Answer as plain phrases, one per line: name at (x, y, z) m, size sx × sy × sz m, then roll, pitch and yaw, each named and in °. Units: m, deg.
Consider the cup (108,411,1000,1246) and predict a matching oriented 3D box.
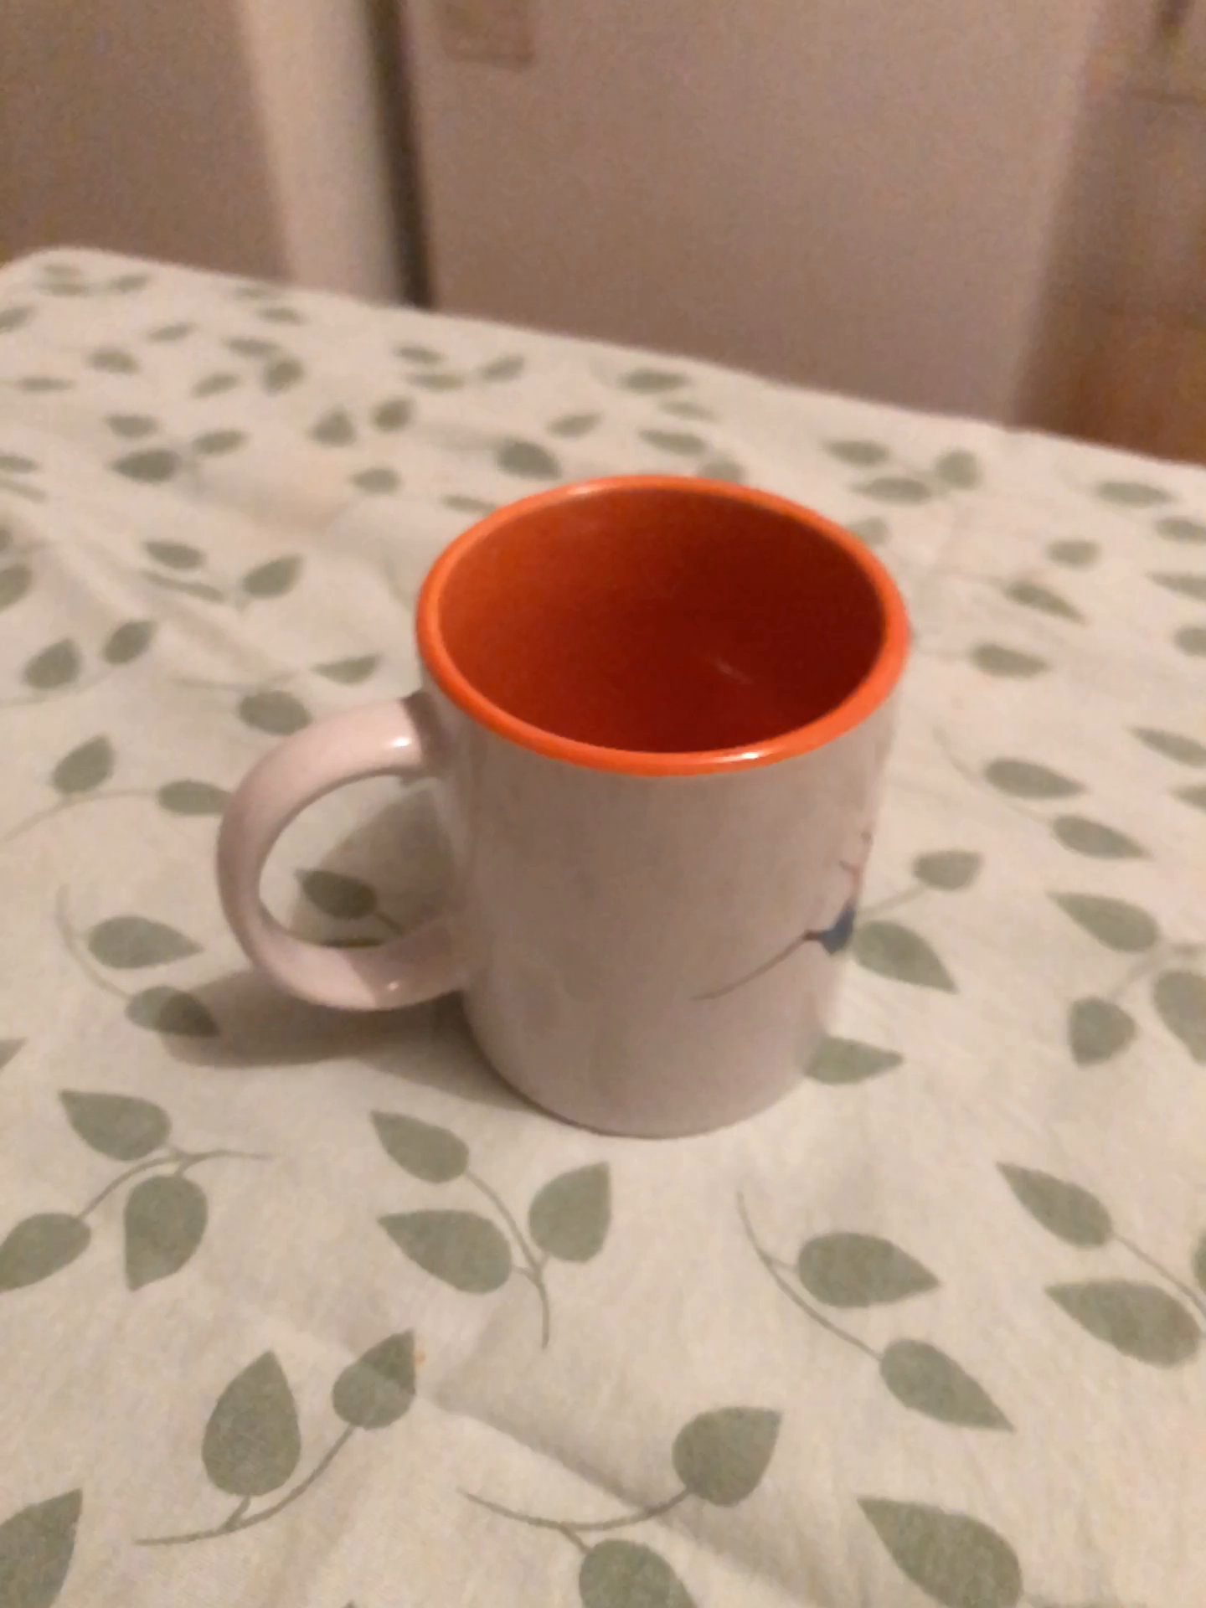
cup at (-0.012, 0.003, 0.243) m, size 0.120 × 0.099 × 0.080 m, roll -12°, pitch 46°, yaw -11°
